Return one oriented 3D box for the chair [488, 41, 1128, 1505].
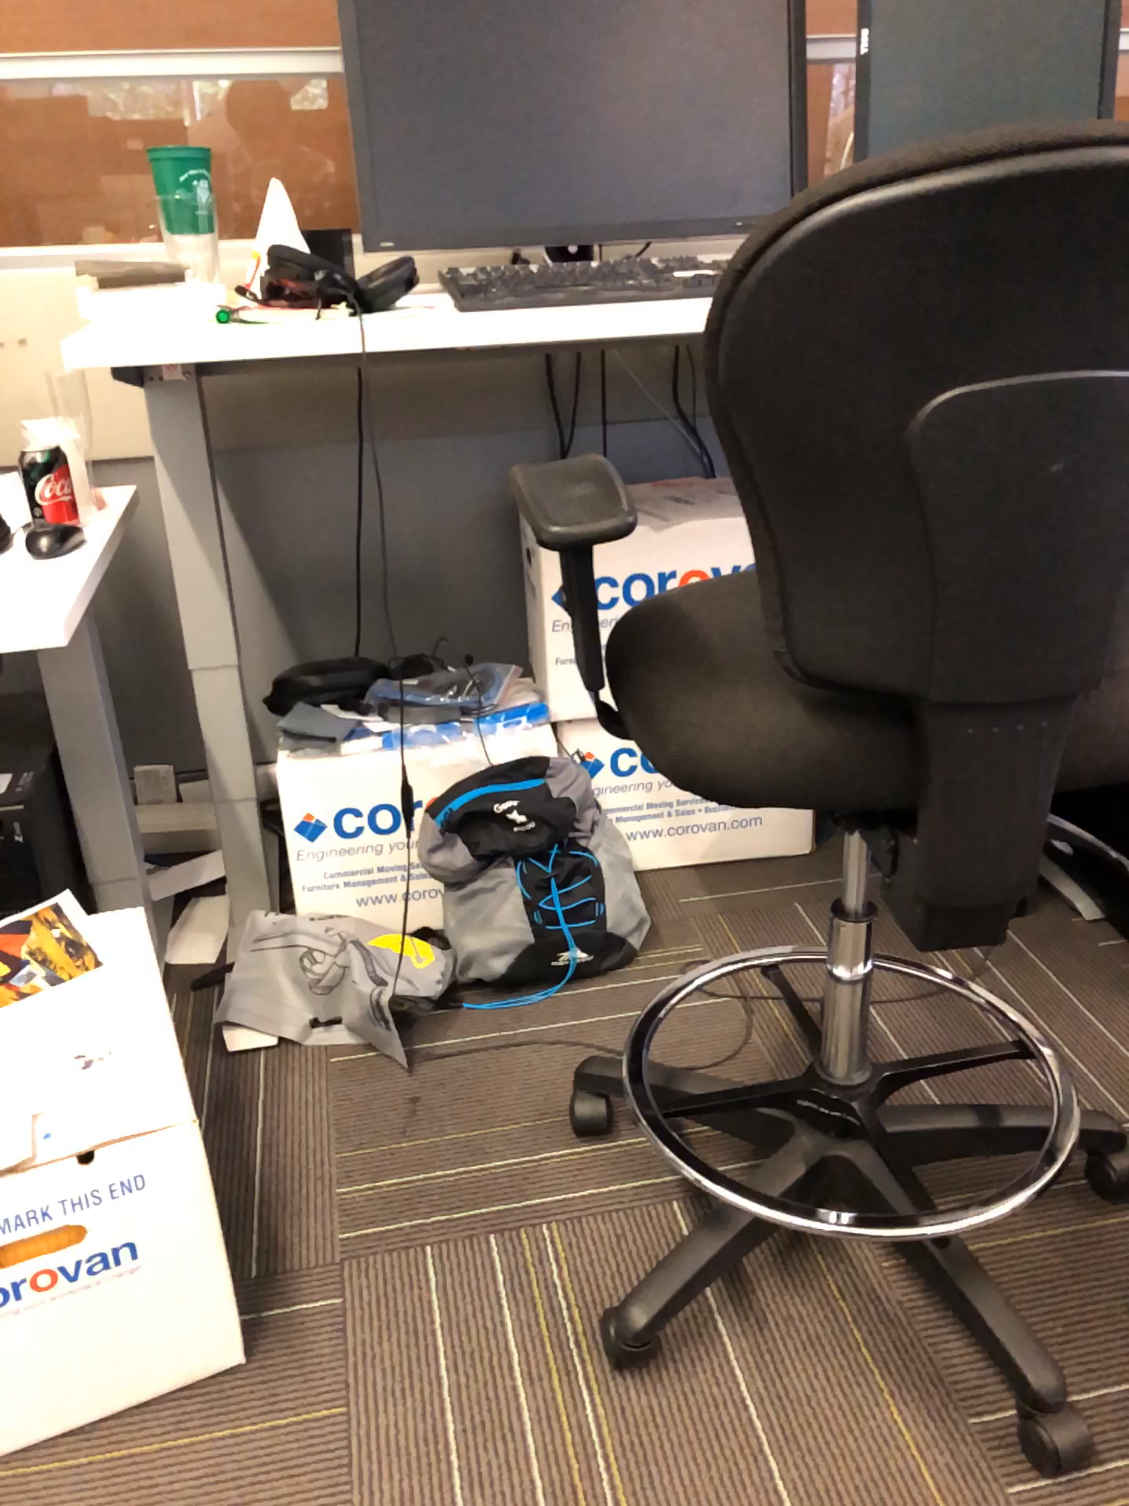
[{"bbox_3d":[0.306,0.005,1.216,0.640,1.134,0.734,-5,24,-5],"label":"chair"}]
